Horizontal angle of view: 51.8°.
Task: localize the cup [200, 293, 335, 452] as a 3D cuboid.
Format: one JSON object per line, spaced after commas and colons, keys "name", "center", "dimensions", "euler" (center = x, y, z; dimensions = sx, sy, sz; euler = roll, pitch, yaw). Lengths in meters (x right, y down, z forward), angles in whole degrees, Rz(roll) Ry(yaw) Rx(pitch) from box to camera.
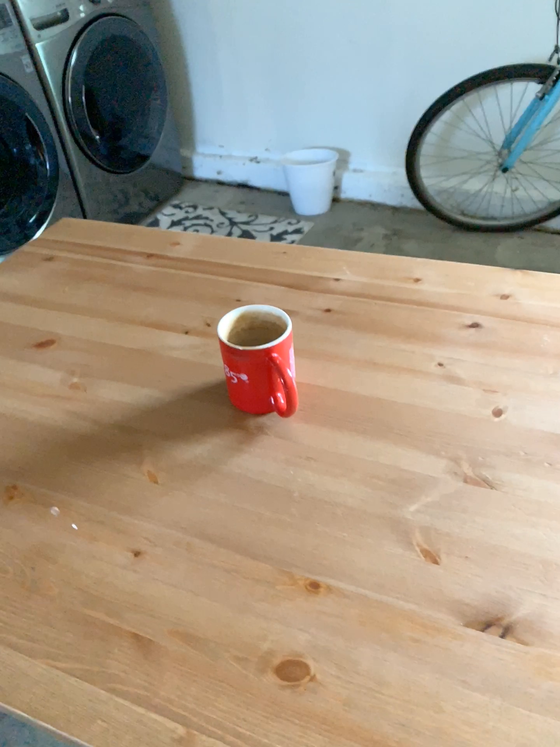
{"name": "cup", "center": [-0.015, -0.005, 0.637], "dimensions": [0.100, 0.090, 0.131], "euler": [-19, 42, -13]}
